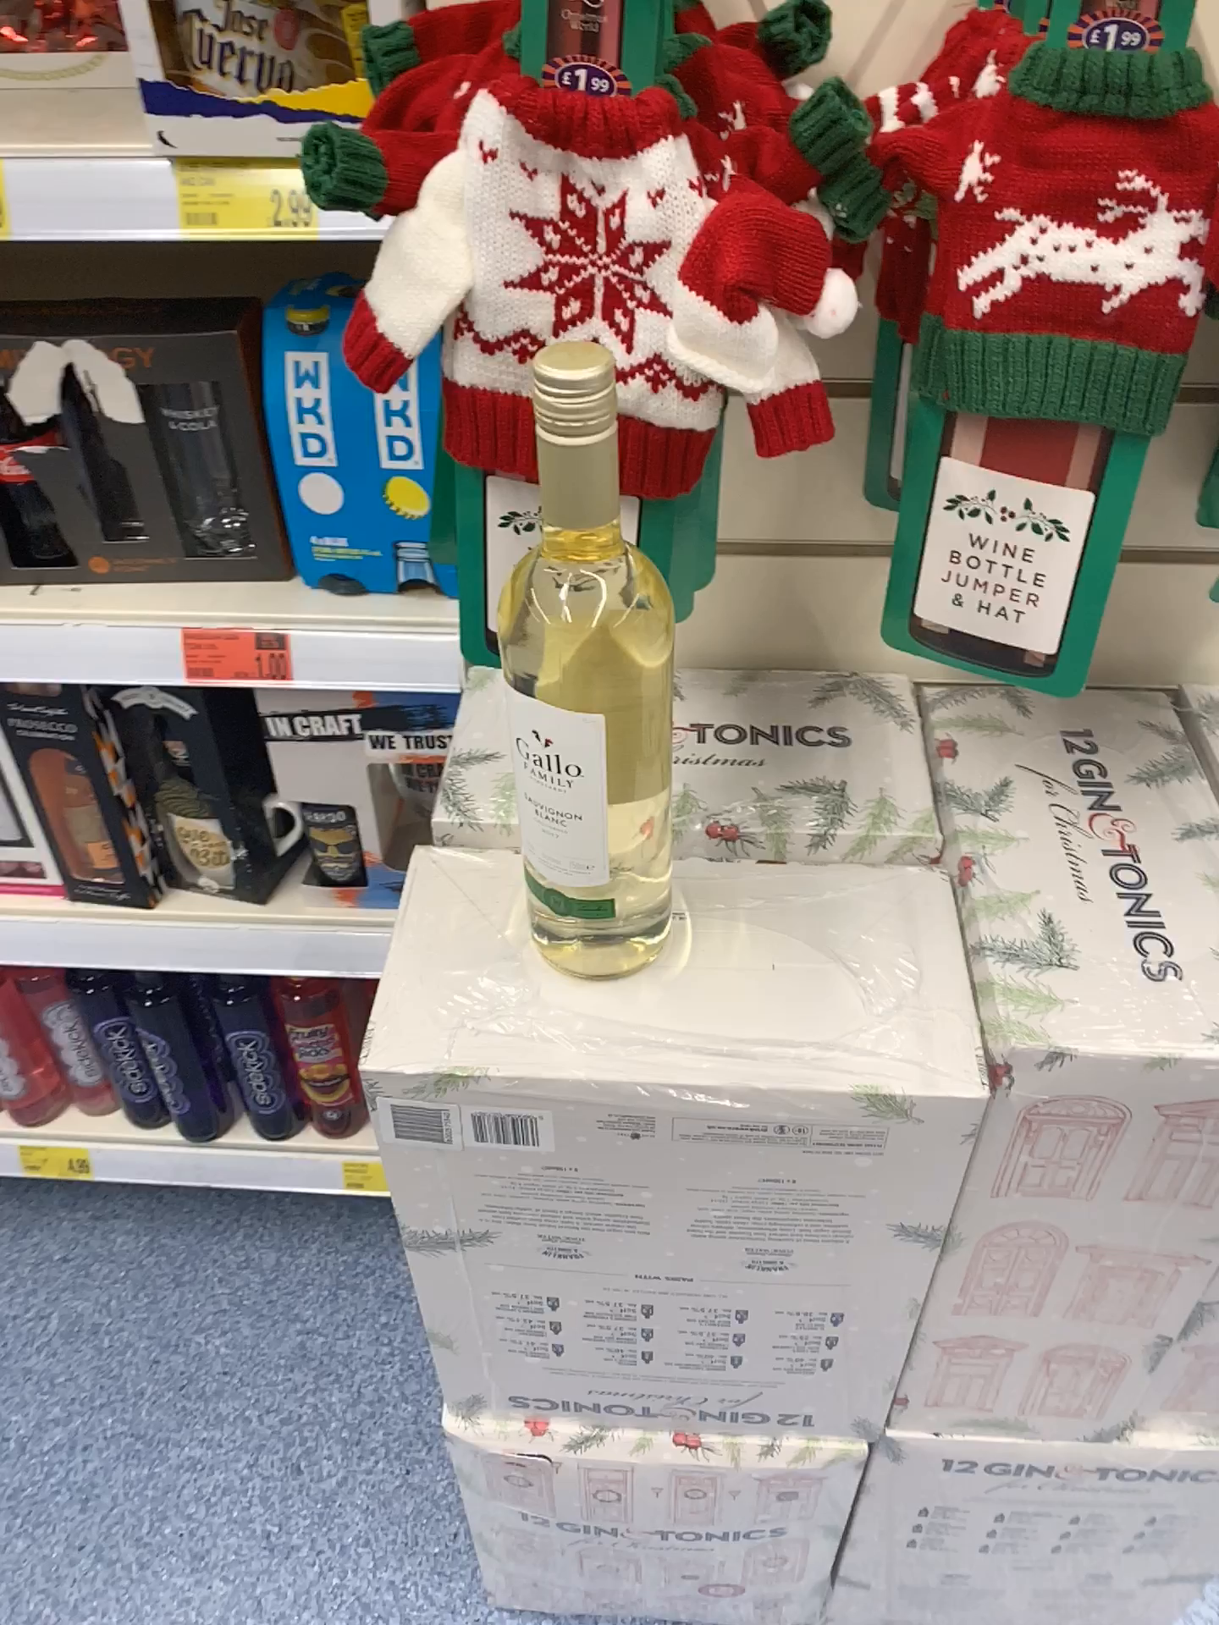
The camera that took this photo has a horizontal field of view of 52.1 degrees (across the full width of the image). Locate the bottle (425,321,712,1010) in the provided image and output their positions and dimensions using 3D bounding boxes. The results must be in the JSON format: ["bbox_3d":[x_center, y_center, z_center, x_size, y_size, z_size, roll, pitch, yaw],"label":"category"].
[{"bbox_3d":[-0.011,-0.048,0.535,0.073,0.285,0.074,-1,40,1],"label":"bottle"}]
